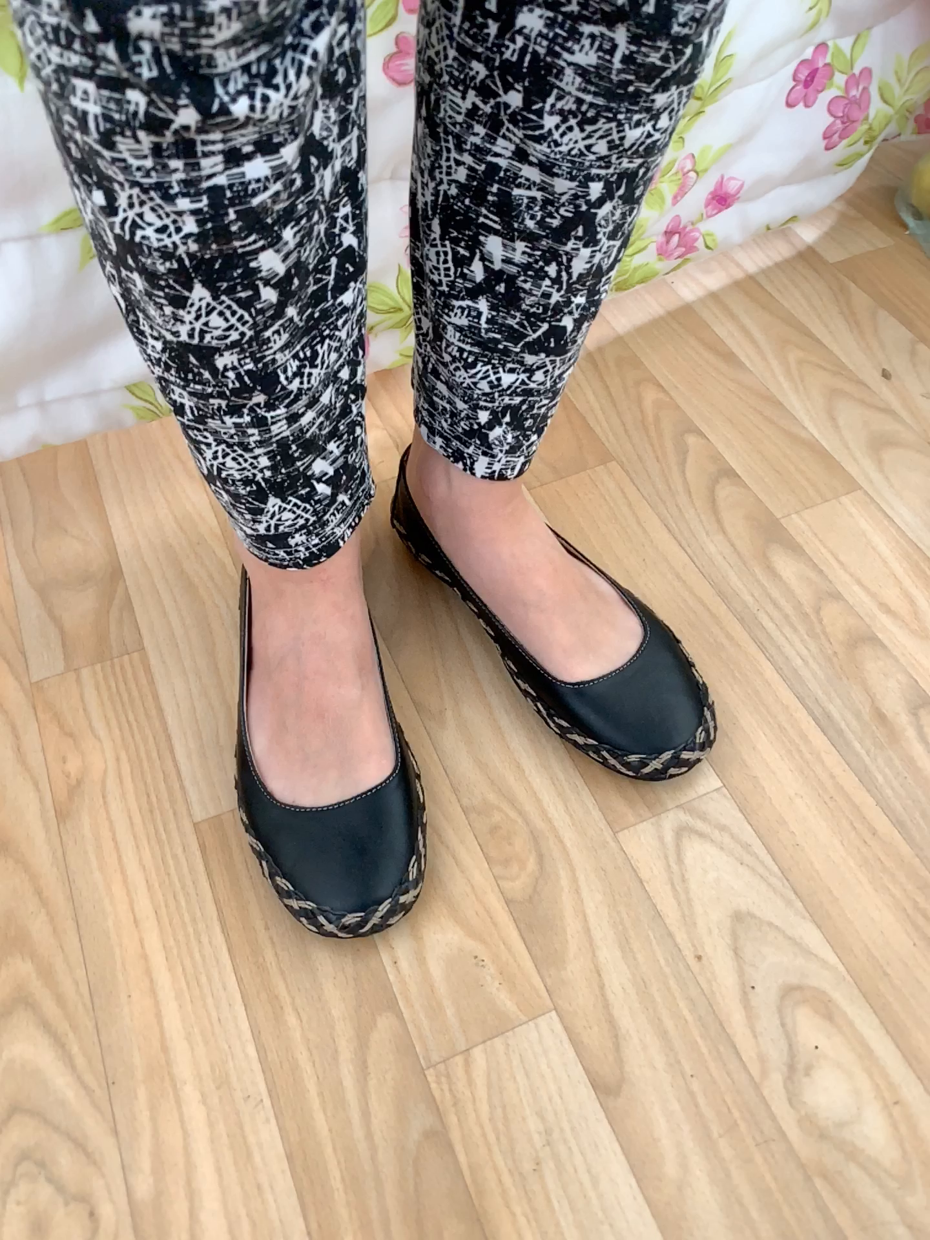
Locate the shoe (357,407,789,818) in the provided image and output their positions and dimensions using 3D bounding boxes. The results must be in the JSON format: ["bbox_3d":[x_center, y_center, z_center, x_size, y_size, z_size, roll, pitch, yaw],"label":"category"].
[{"bbox_3d":[0.052,-0.016,0.560,0.100,0.060,0.251,-33,60,-21],"label":"shoe"}]

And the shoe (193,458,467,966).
[{"bbox_3d":[-0.080,0.036,0.523,0.100,0.070,0.266,-12,54,-7],"label":"shoe"}]
